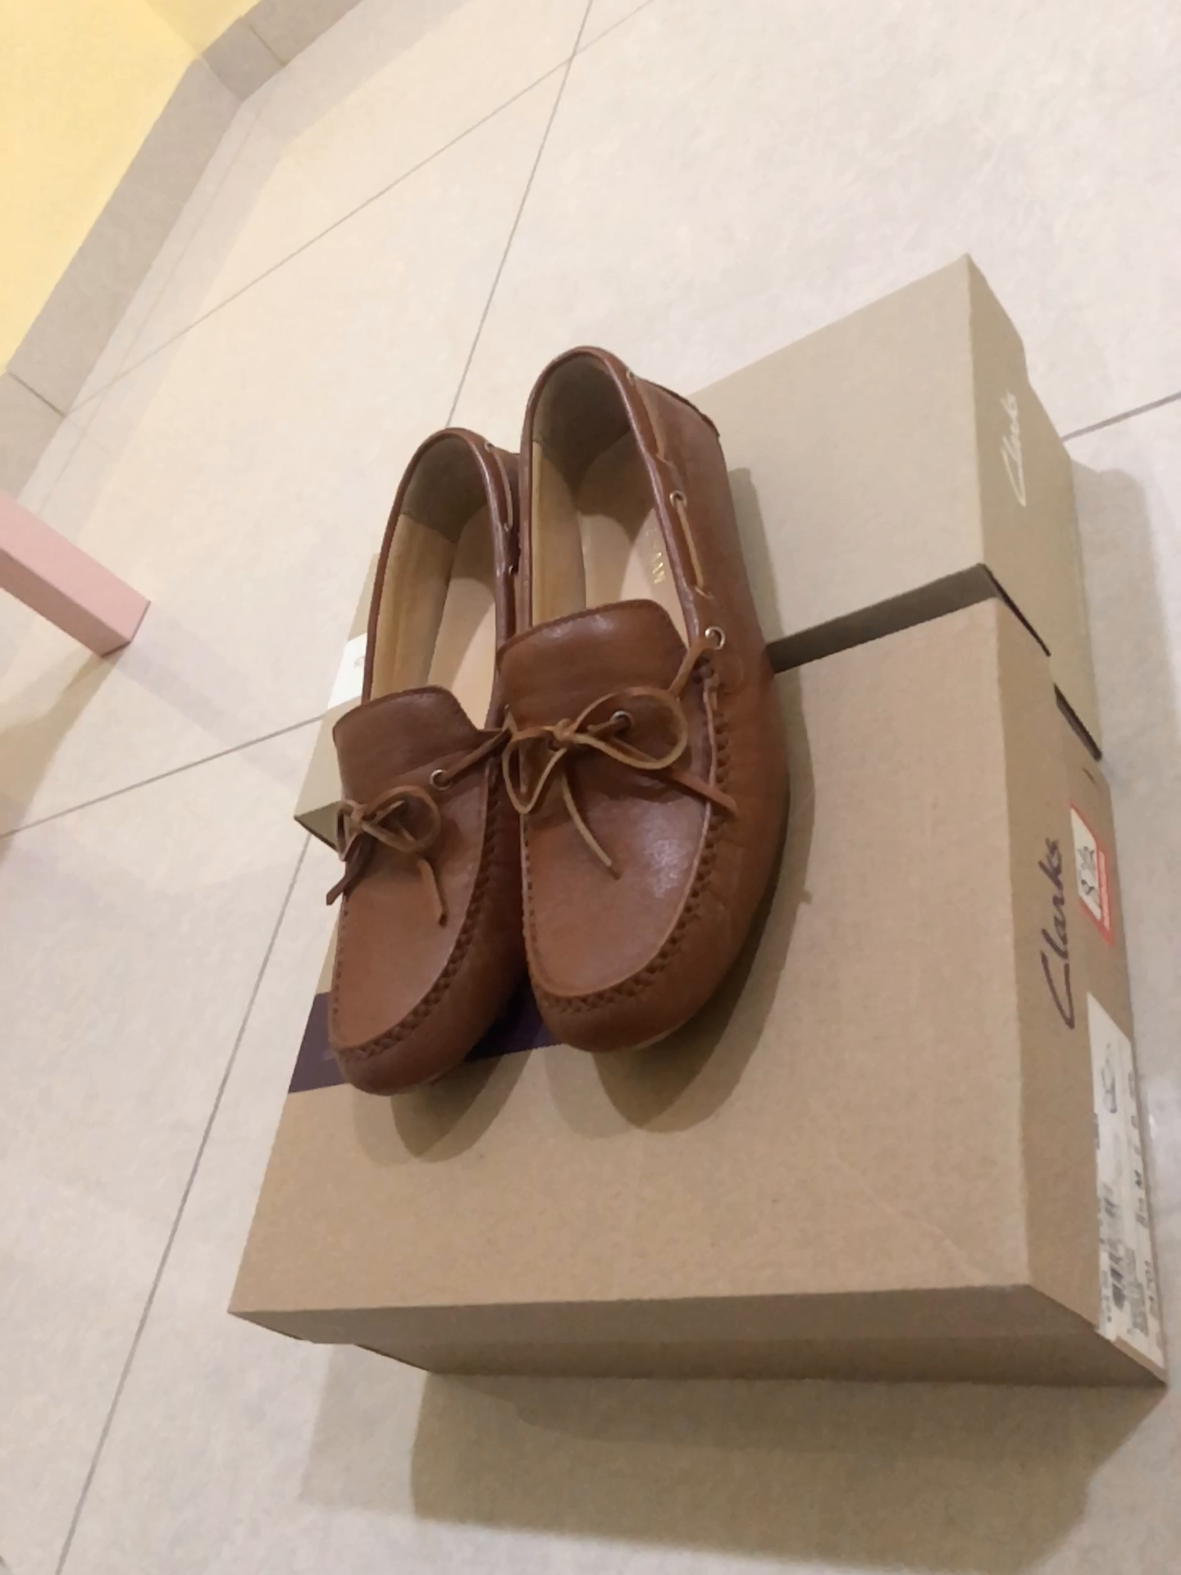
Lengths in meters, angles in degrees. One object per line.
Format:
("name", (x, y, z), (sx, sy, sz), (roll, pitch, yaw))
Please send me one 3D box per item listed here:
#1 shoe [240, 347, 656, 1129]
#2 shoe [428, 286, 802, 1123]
("shoe", (-0.044, -0.023, 0.495), (0.080, 0.080, 0.280), (-15, 56, 36))
("shoe", (0.014, -0.036, 0.460), (0.080, 0.080, 0.280), (-19, 53, 33))
